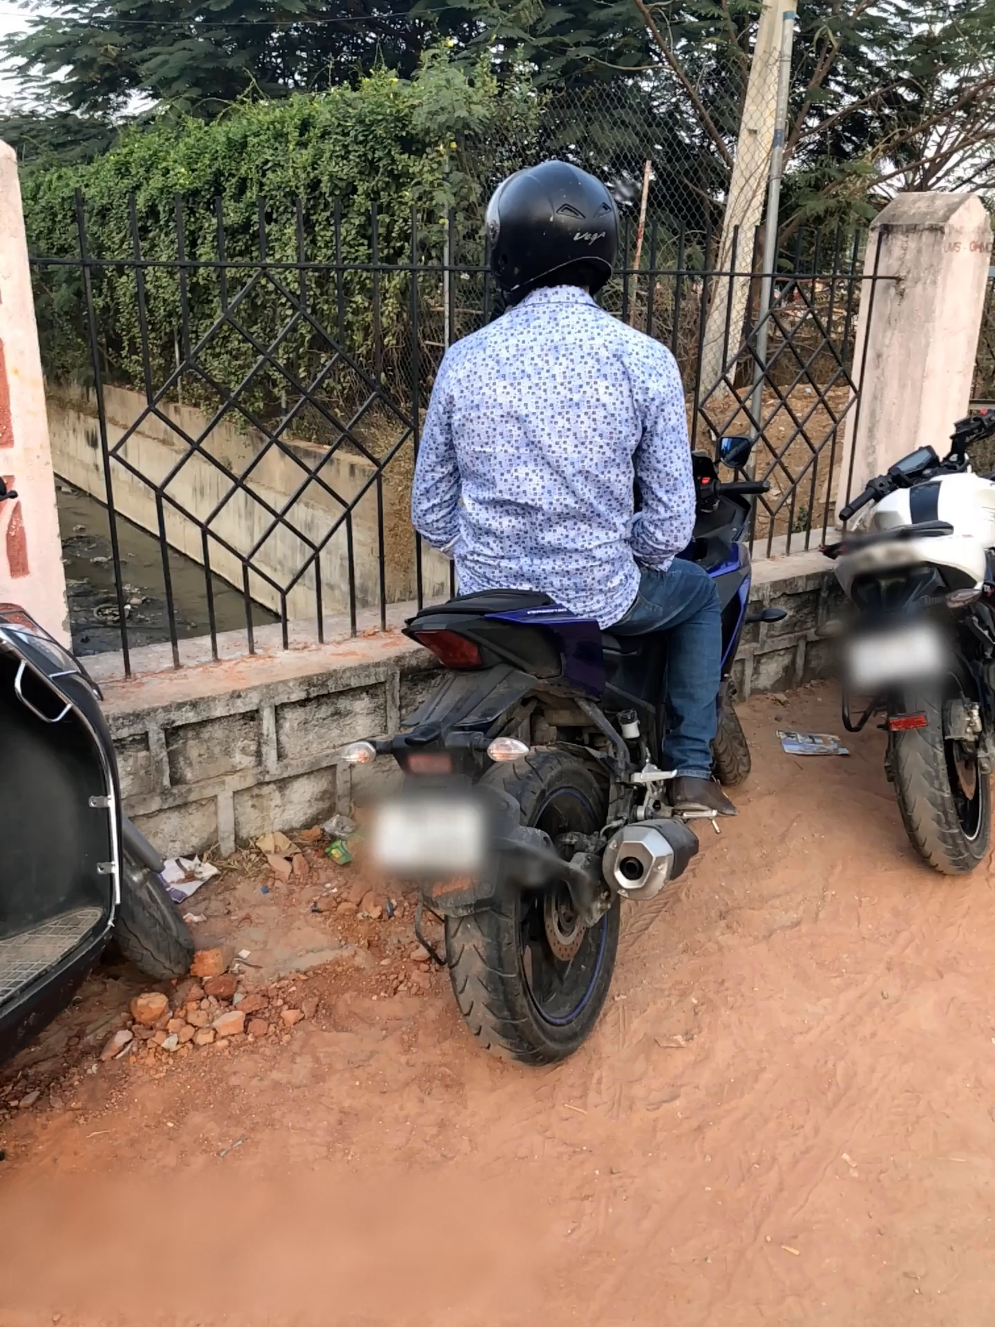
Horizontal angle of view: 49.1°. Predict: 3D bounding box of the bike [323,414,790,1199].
[{"bbox_3d":[0.296,0.062,2.709,0.730,0.995,1.955,6,22,13],"label":"bike"}]
